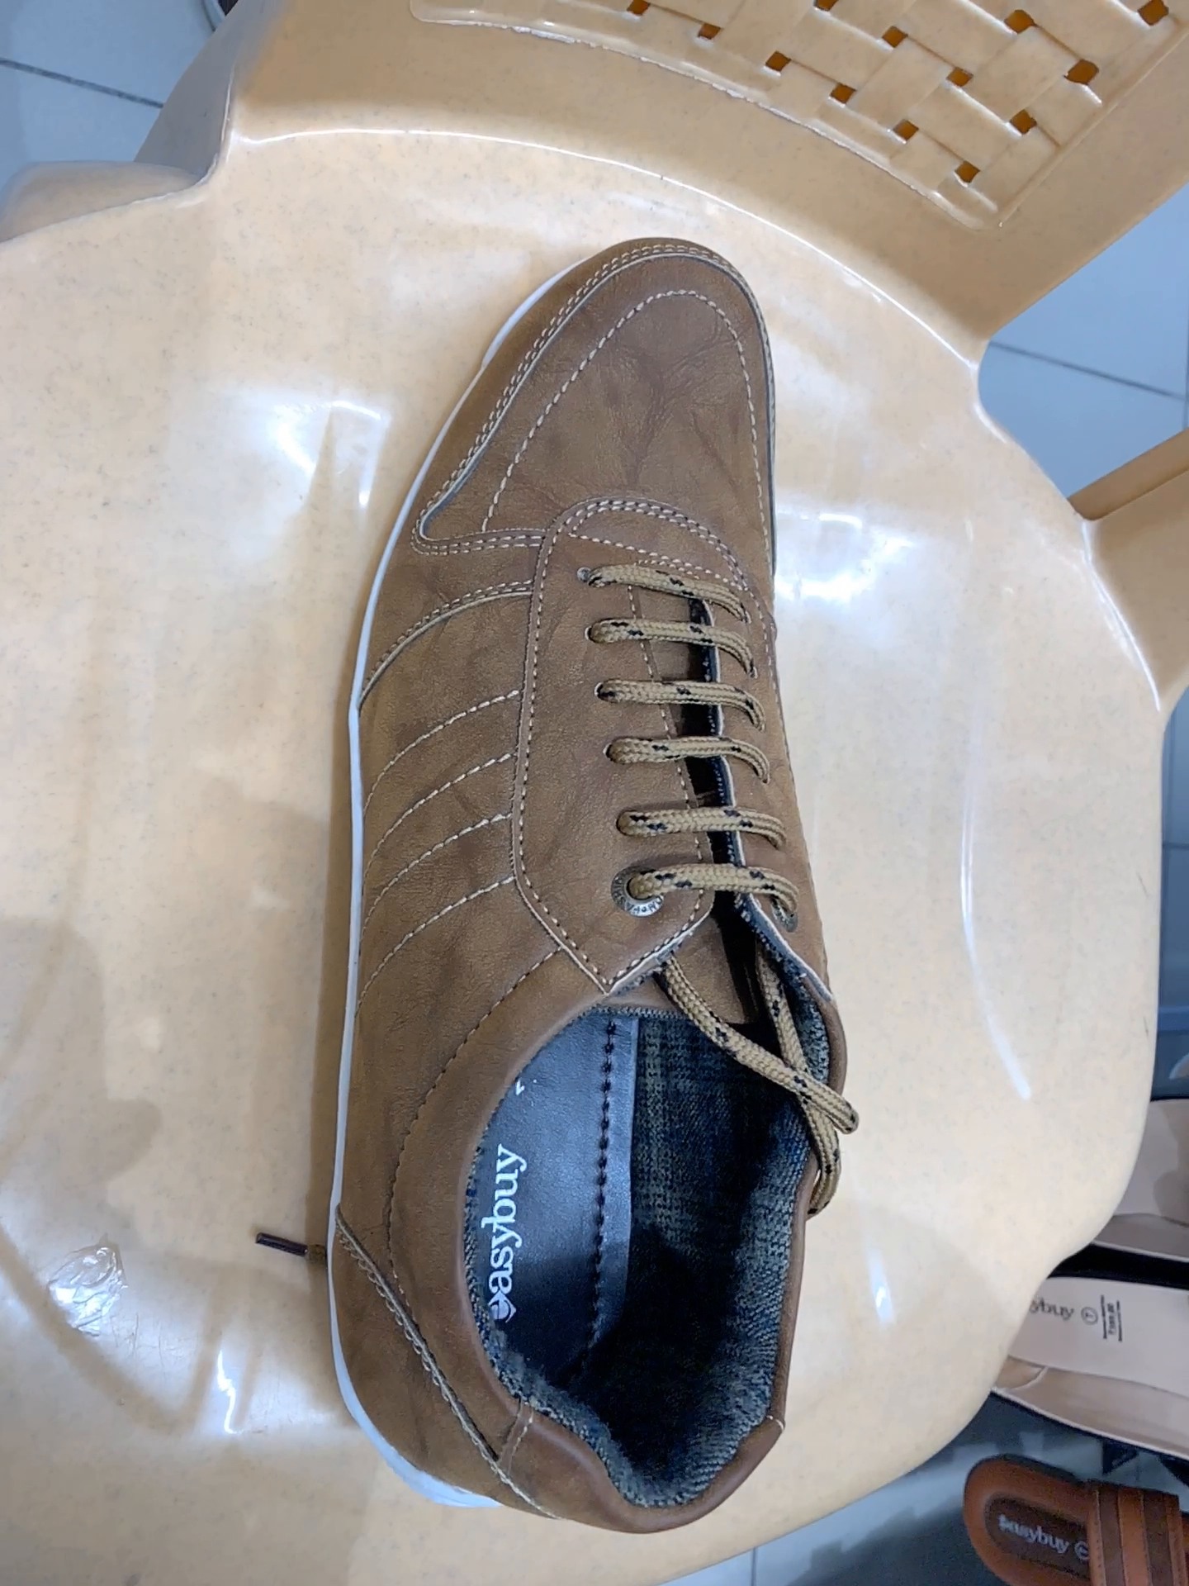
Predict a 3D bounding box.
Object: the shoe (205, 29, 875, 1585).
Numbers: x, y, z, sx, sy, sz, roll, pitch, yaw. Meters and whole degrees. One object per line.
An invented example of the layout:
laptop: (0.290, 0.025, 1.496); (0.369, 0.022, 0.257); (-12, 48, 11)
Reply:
shoe: (-0.008, 0.003, 0.289); (0.100, 0.100, 0.310); (11, 73, -23)
